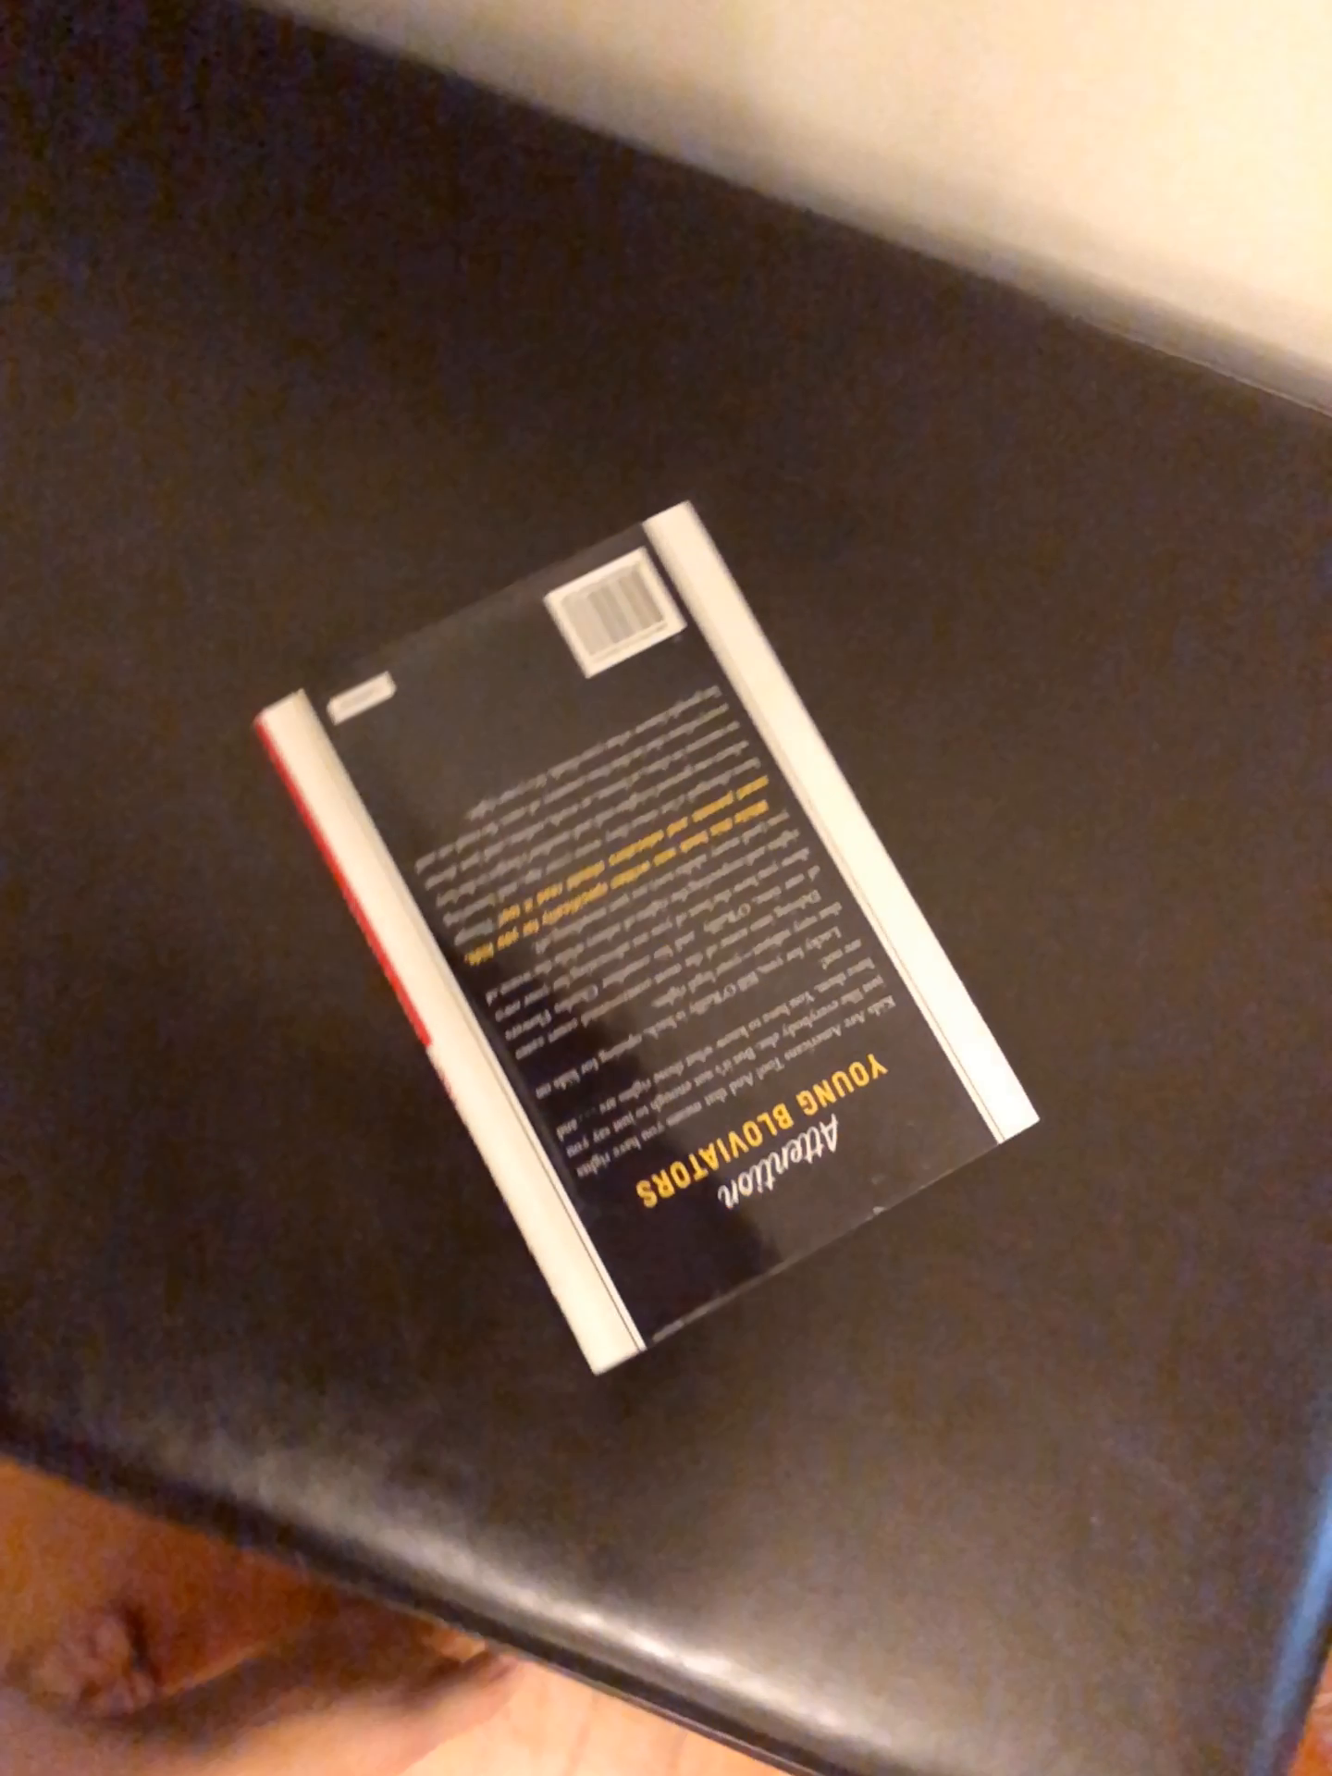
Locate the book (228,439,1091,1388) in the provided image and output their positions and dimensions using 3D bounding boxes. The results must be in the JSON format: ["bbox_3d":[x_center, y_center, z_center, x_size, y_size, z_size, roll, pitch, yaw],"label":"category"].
[{"bbox_3d":[-0.003,0.002,0.437,0.160,0.020,0.230,-28,84,-7],"label":"book"}]
